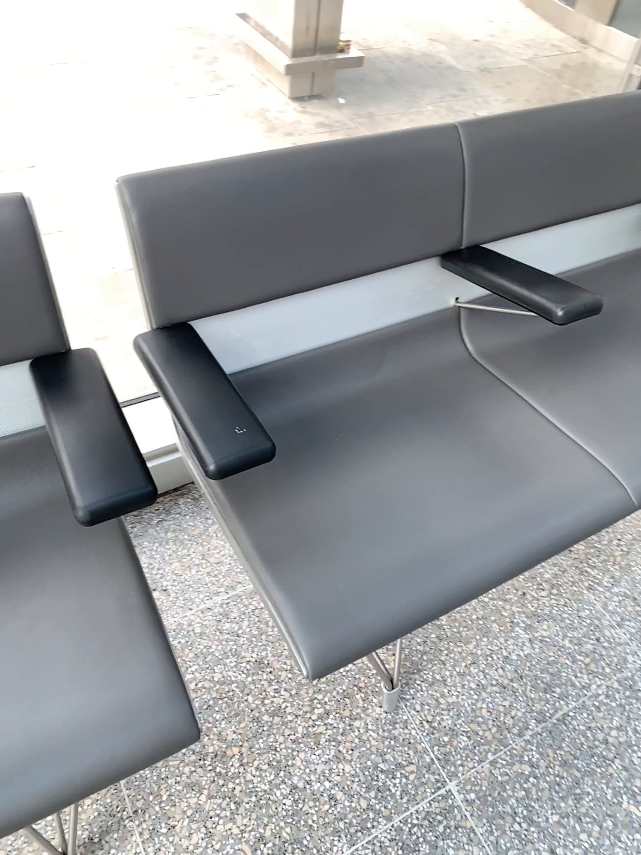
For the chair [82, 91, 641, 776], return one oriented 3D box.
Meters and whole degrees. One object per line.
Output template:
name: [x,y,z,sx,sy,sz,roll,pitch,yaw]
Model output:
chair: [0.294,-0.093,1.338,1.204,0.713,0.825,-19,53,-23]
